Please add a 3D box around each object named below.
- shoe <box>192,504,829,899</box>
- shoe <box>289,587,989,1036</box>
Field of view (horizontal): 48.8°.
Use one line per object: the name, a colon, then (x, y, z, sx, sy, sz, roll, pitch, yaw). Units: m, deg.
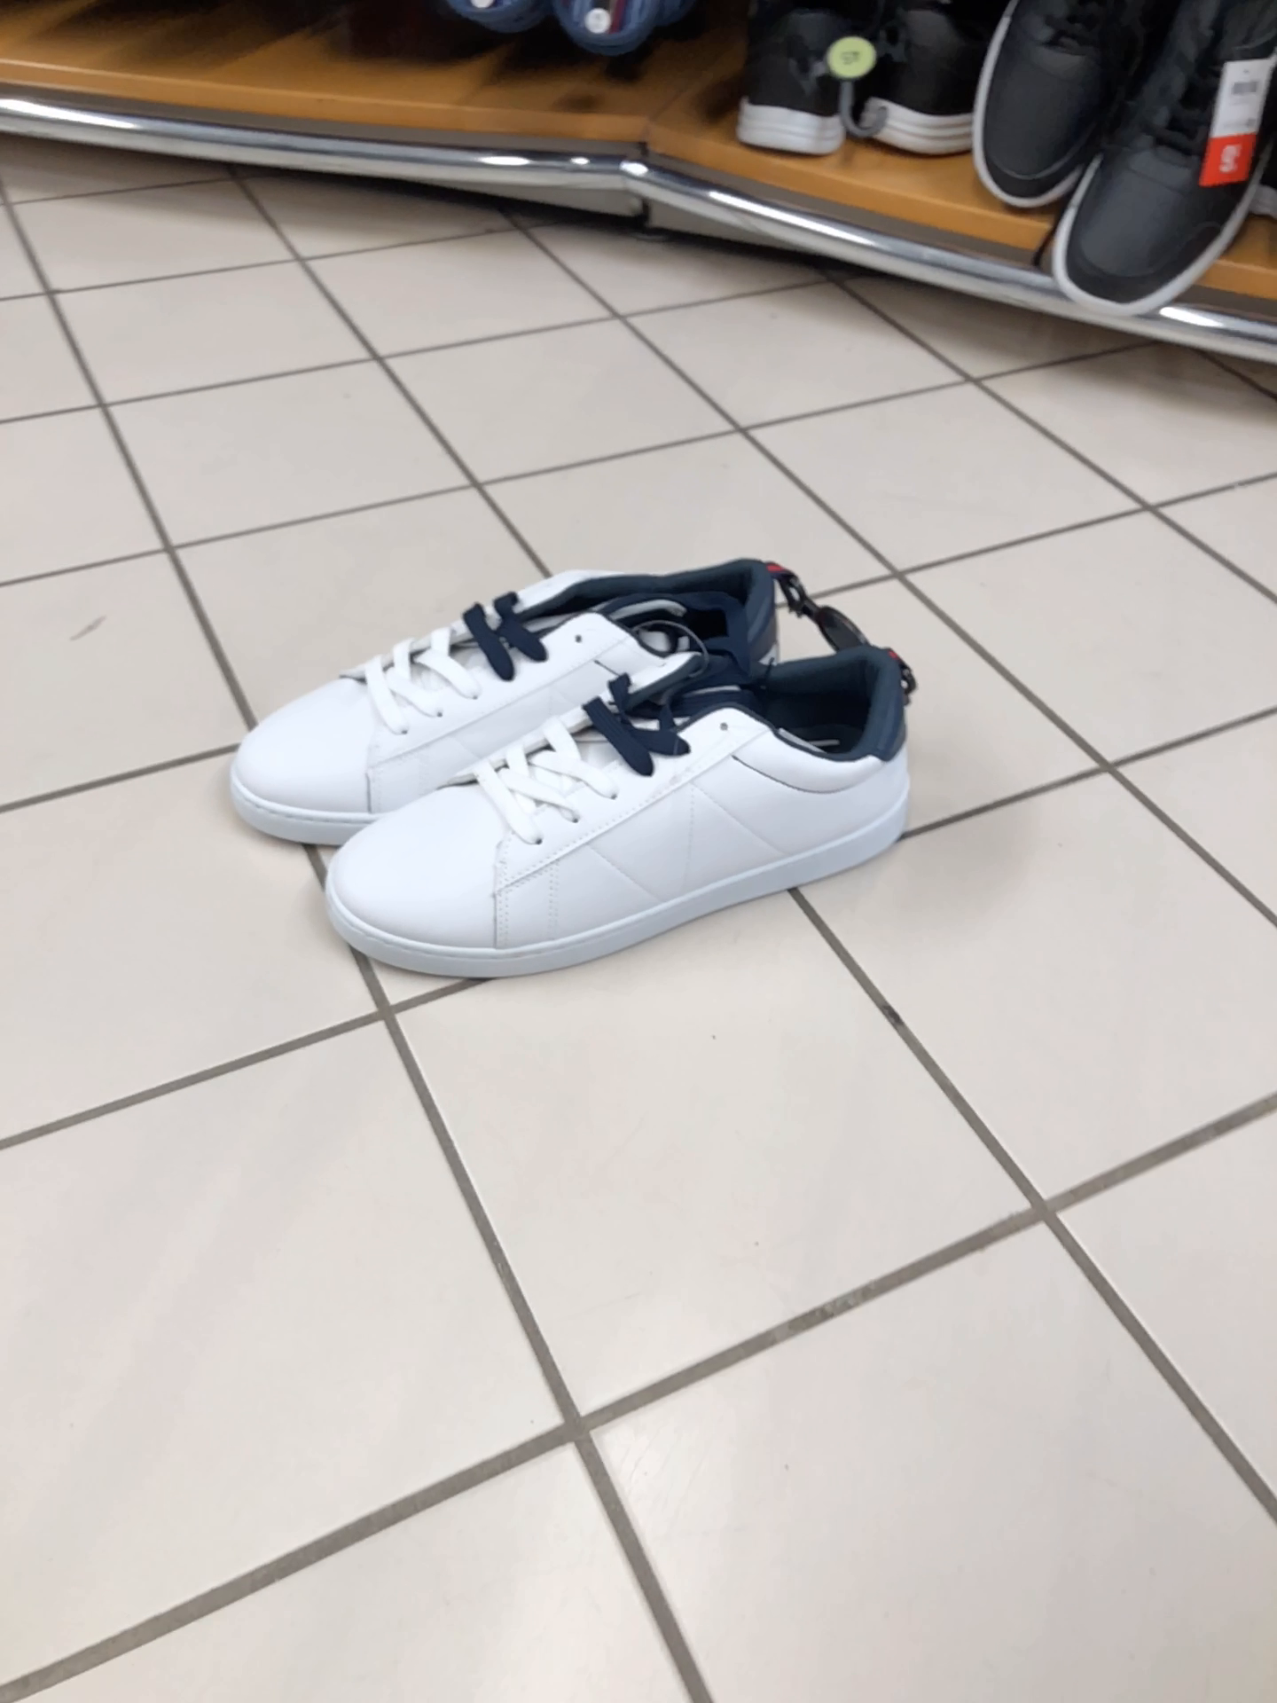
shoe: (-0.061, -0.082, 0.714, 0.291, 0.099, 0.100, -15, 47, -18)
shoe: (0.002, -0.025, 0.649, 0.291, 0.099, 0.100, -15, 47, -18)
